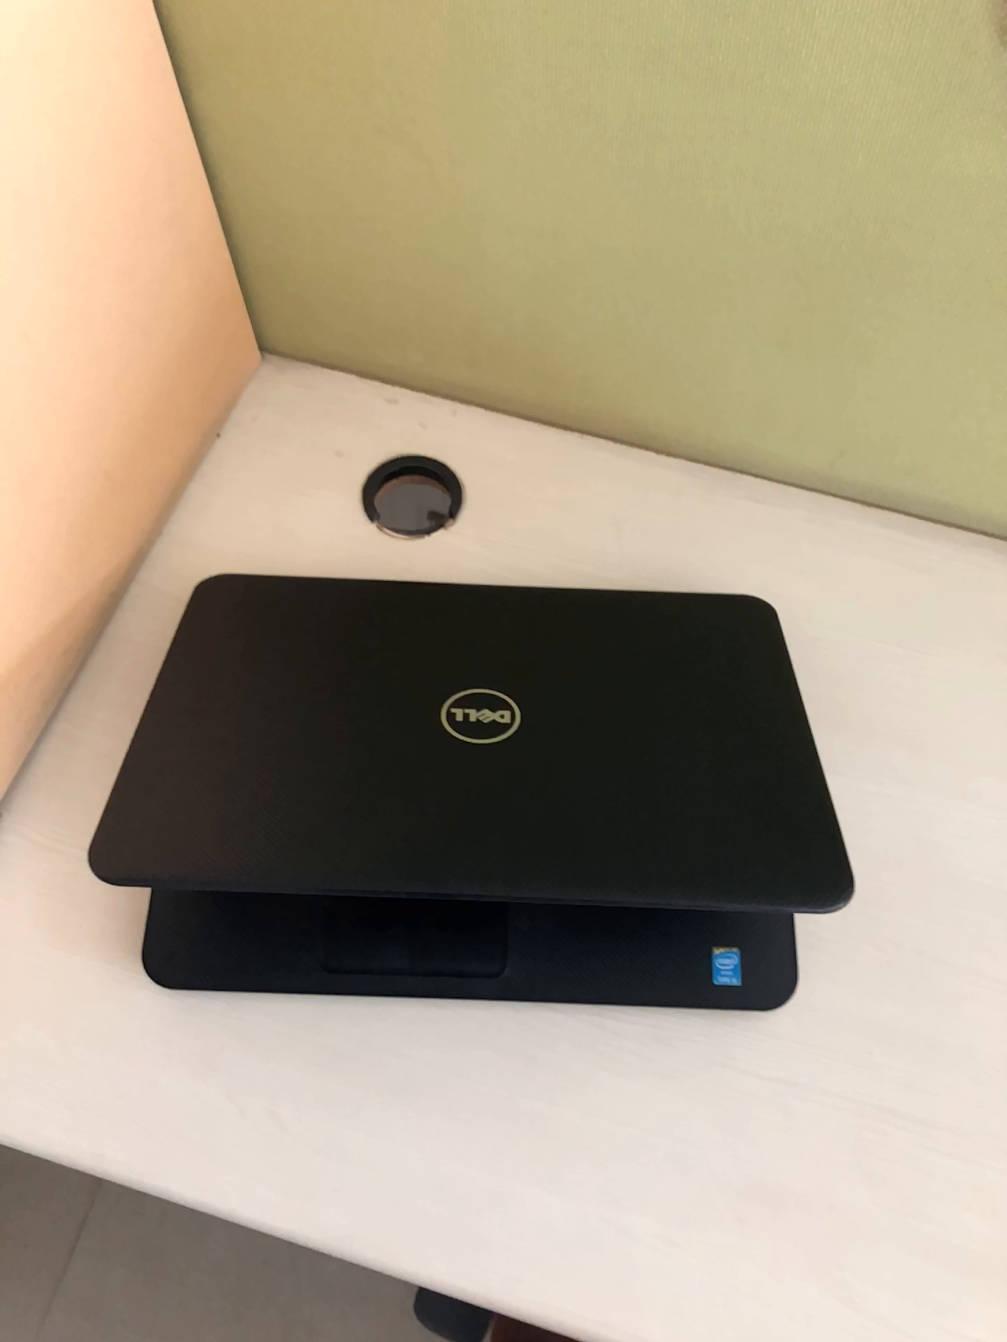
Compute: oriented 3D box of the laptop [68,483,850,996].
[{"bbox_3d":[-0.017,0.037,0.618,0.366,0.107,0.247,2,66,0],"label":"laptop"}]
